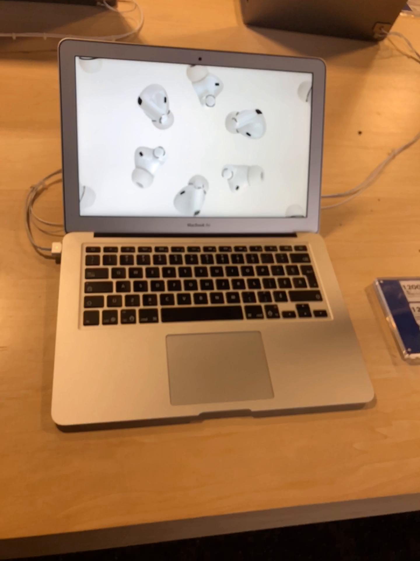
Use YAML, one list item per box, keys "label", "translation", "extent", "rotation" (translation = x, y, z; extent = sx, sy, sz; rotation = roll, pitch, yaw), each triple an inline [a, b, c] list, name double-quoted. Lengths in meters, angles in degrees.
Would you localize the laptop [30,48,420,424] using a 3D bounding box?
- label: "laptop"
  translation: [0.002, -0.069, 0.499]
  extent: [0.311, 0.151, 0.372]
  rotation: [-1, 53, -11]
